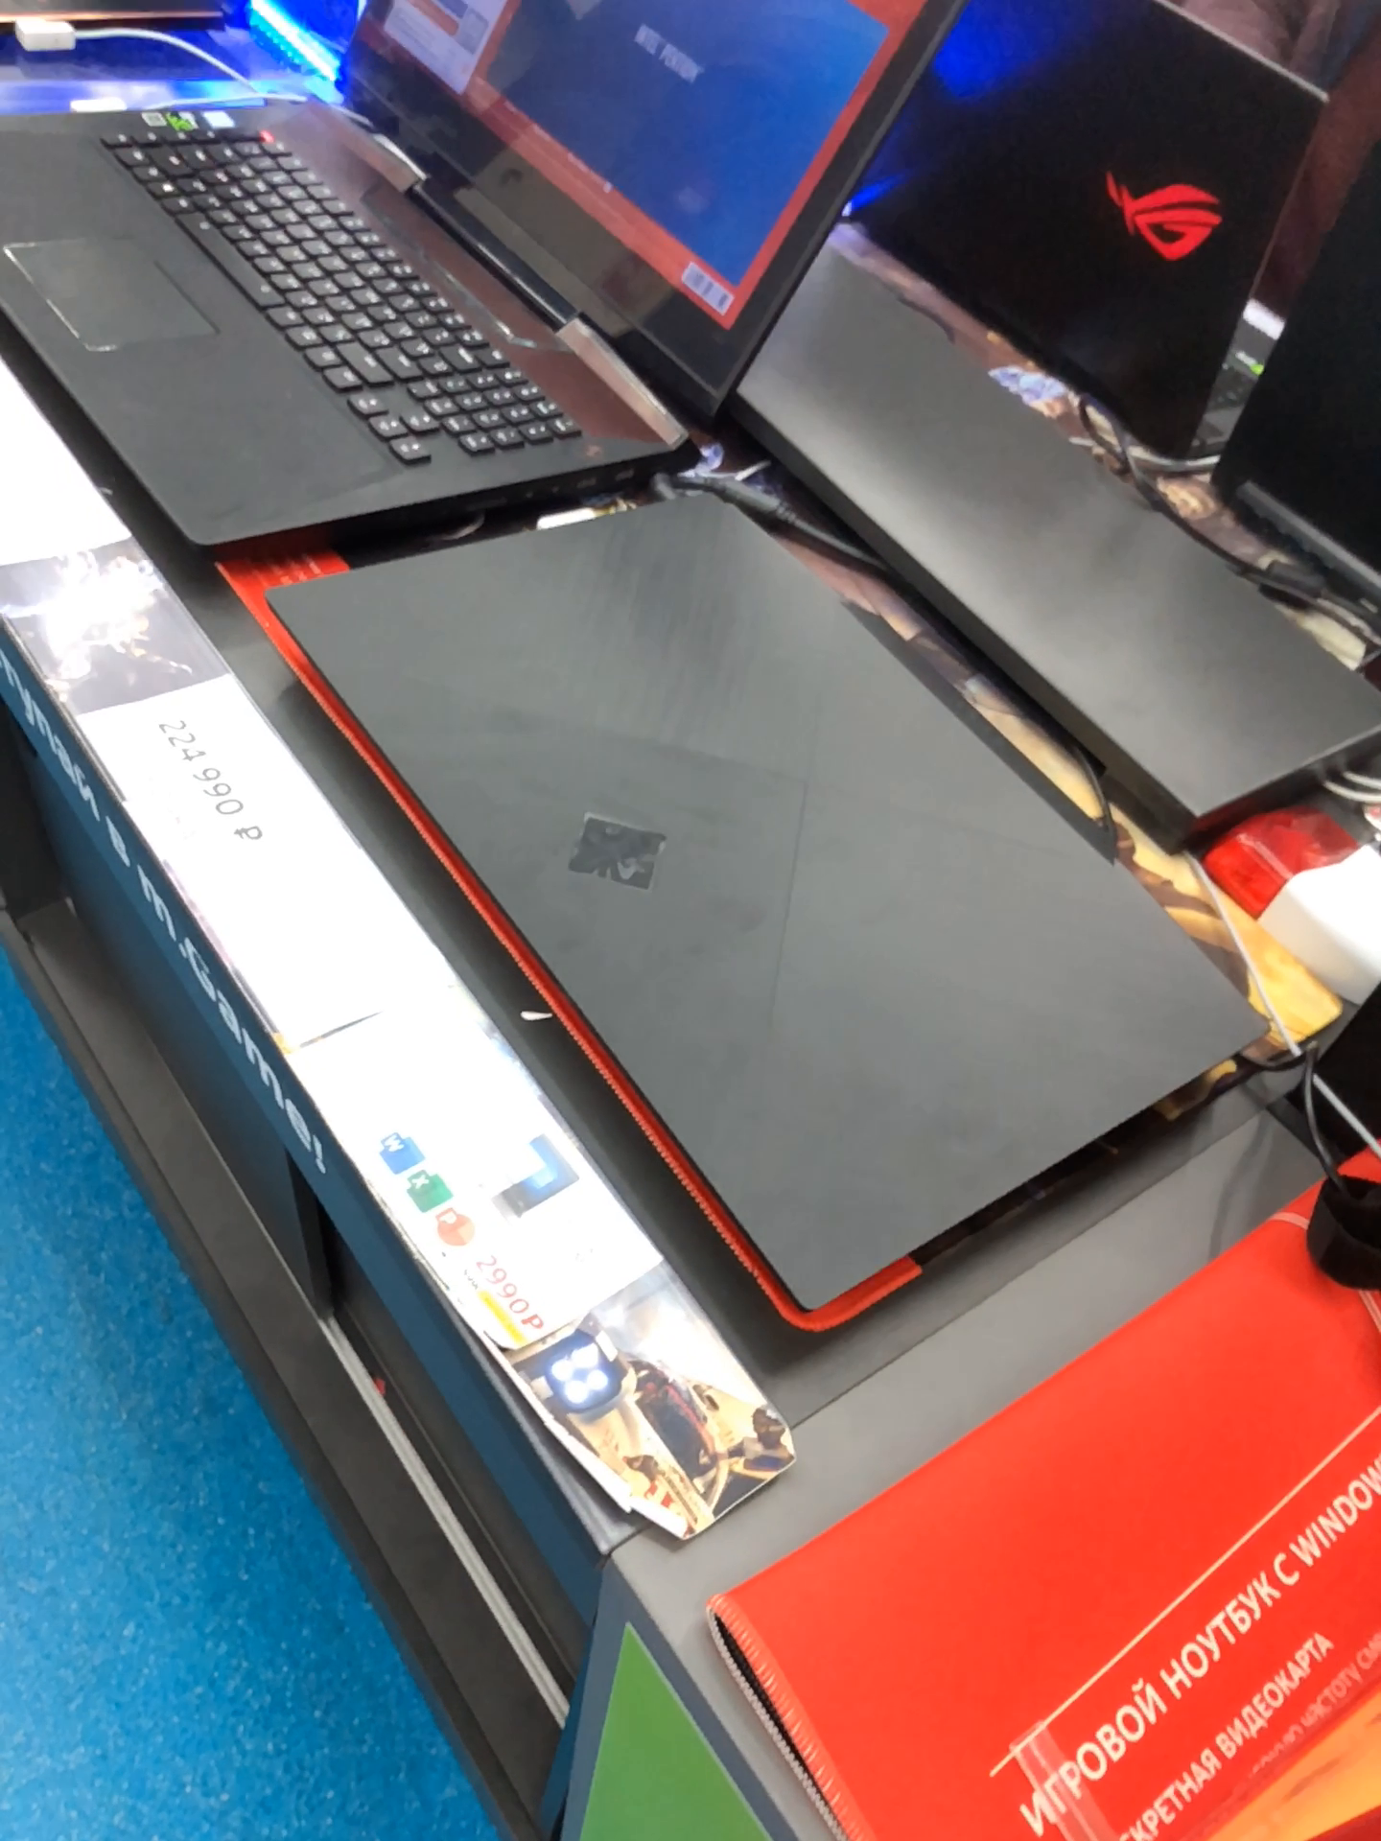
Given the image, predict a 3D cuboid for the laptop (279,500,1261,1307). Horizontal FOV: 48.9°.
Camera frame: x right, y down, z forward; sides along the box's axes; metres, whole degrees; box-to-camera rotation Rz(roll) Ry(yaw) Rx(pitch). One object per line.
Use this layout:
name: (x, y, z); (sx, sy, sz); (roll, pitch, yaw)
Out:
laptop: (0.029, -0.050, 0.667); (0.261, 0.002, 0.398); (-21, 58, -33)
